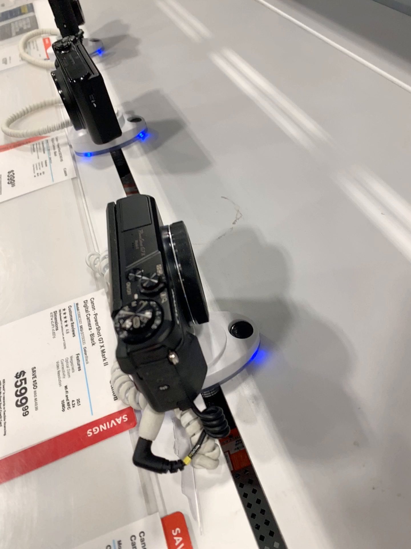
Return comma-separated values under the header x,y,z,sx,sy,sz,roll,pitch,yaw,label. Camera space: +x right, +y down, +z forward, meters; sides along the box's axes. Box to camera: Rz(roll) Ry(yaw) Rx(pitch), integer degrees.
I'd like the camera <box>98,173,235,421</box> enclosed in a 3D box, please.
x,y,z,sx,sy,sz,roll,pitch,yaw,label
-0.023,0.008,0.224,0.044,0.060,0.110,-16,48,0,camera
